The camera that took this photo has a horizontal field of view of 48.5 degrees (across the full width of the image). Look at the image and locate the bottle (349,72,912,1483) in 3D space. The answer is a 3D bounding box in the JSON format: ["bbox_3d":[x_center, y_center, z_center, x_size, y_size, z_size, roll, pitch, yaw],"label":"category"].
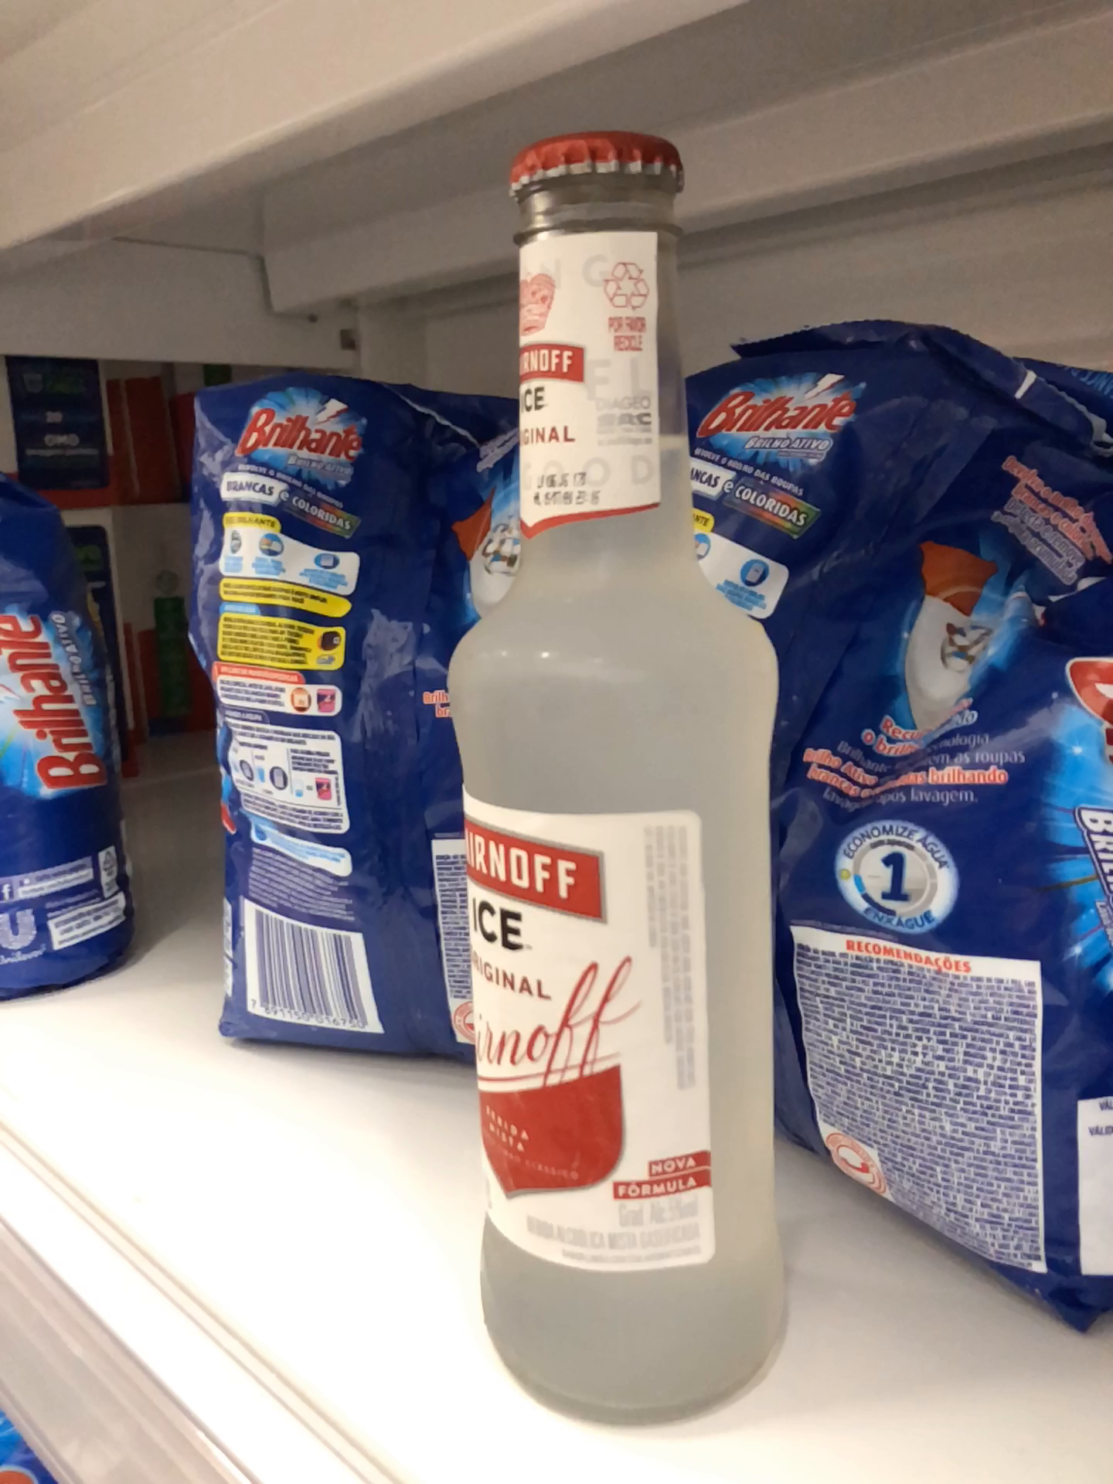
[{"bbox_3d":[0.013,0.010,0.219,0.060,0.209,0.070,-9,13,-34],"label":"bottle"}]
